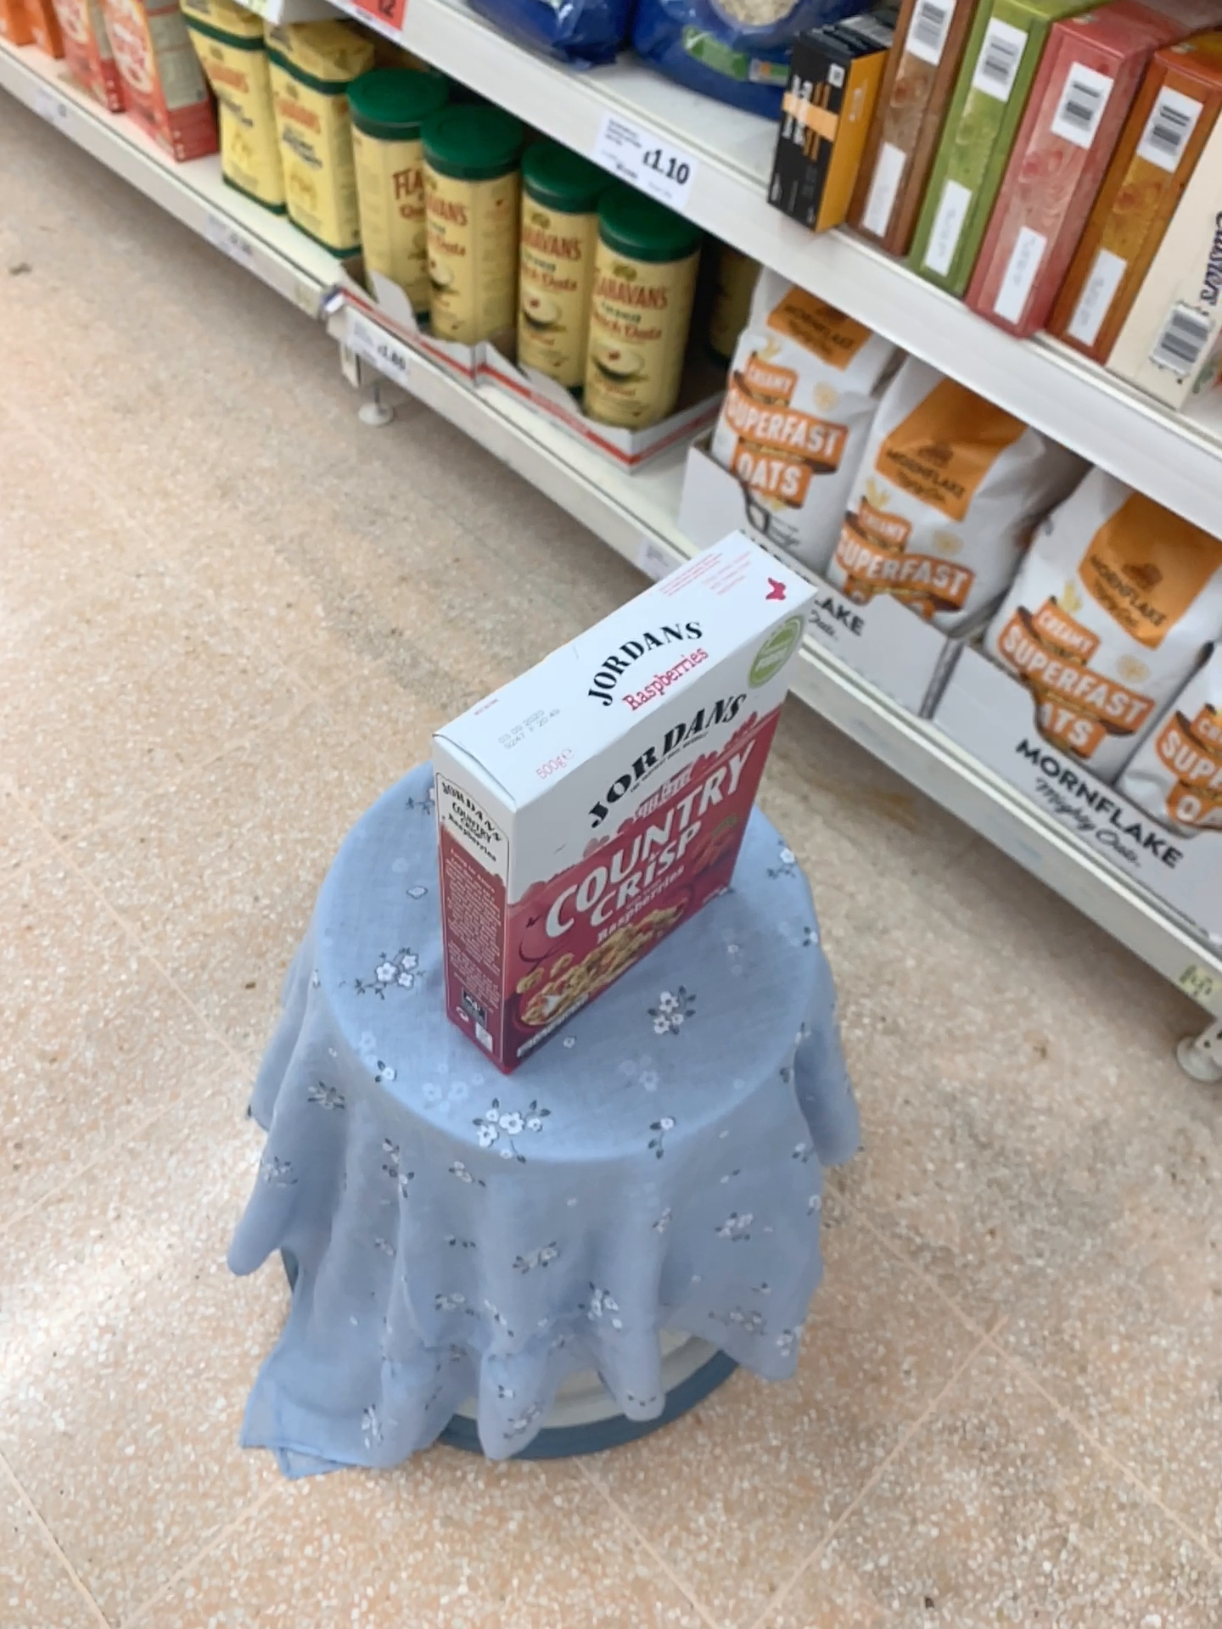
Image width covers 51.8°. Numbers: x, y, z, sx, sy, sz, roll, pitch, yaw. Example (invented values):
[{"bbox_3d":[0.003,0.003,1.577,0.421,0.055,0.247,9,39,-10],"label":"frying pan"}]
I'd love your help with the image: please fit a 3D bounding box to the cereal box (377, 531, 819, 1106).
[{"bbox_3d":[-0.015,0.014,0.640,0.201,0.268,0.060,-36,67,-27],"label":"cereal box"}]
